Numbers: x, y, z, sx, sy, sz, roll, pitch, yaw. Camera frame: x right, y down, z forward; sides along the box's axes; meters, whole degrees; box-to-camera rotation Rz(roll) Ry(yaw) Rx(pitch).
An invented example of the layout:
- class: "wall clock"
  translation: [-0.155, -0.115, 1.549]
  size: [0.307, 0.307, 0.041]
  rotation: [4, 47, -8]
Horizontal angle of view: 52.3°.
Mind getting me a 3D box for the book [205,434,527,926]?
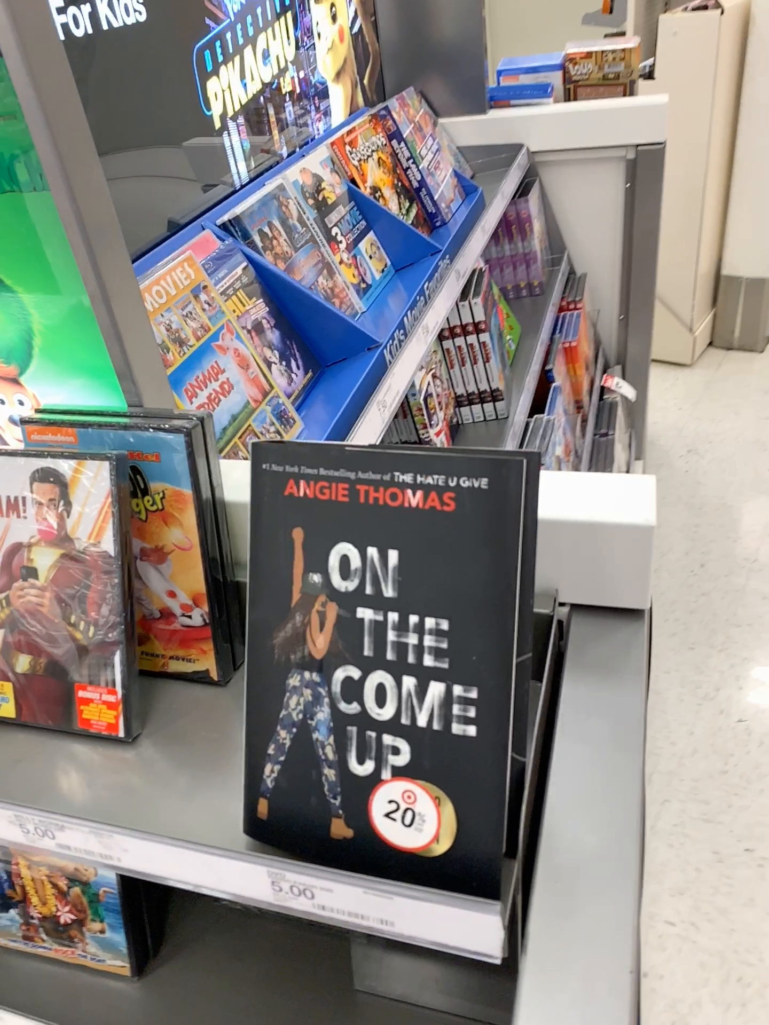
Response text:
- class: "book"
  translation: [-0.012, 0.075, 0.405]
  size: [0.149, 0.222, 0.056]
  rotation: [5, 8, 19]
